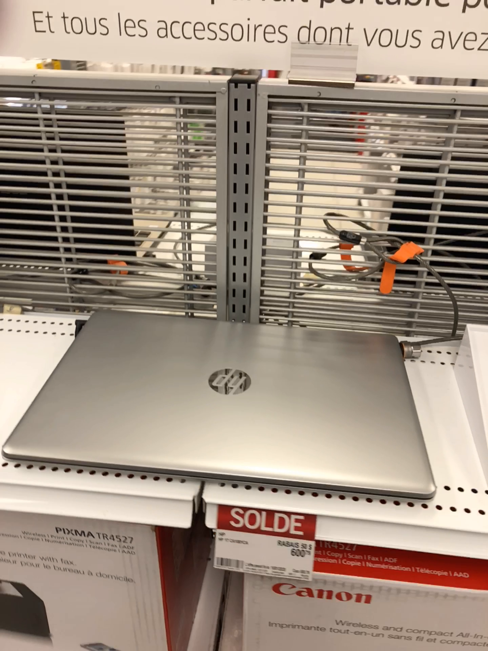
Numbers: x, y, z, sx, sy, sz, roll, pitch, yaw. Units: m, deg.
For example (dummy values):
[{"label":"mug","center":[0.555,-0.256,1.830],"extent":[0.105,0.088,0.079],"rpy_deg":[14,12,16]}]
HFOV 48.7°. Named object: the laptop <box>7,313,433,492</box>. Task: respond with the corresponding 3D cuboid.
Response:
[{"label":"laptop","center":[-0.016,0.068,0.639],"extent":[0.416,0.002,0.278],"rpy_deg":[4,31,5]}]
